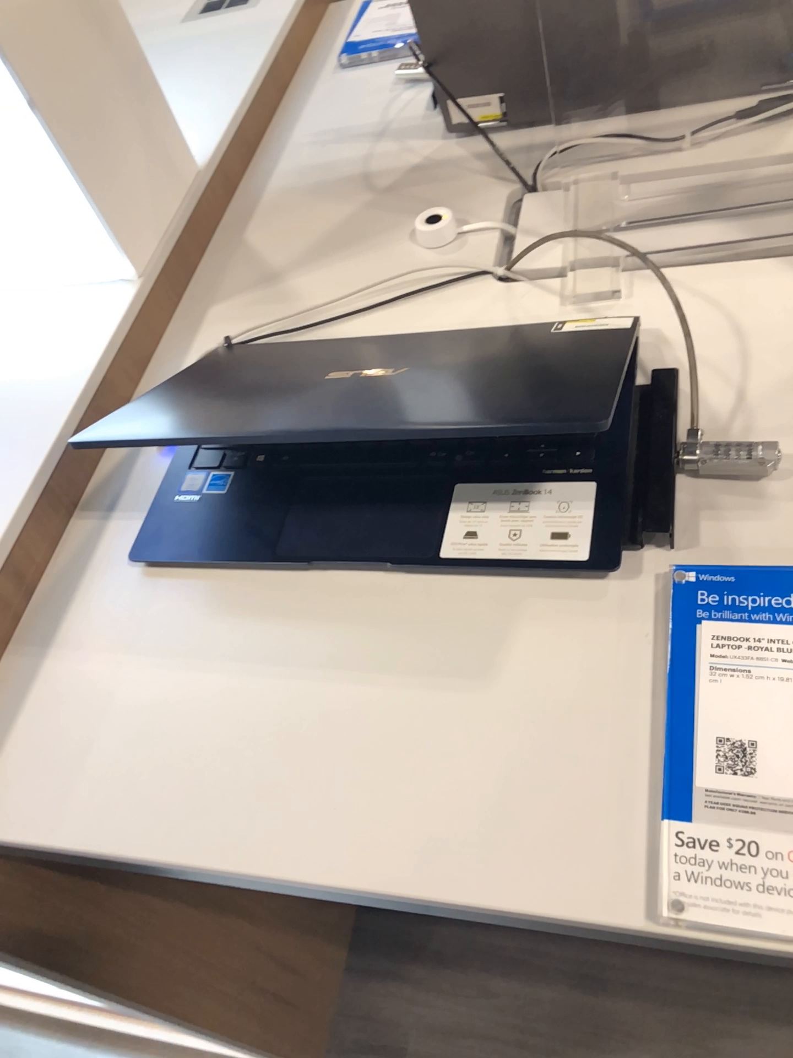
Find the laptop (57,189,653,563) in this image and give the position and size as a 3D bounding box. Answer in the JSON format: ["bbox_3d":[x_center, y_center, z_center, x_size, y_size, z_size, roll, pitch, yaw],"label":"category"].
[{"bbox_3d":[-0.010,-0.092,0.535,0.310,0.095,0.203,1,52,19],"label":"laptop"}]
